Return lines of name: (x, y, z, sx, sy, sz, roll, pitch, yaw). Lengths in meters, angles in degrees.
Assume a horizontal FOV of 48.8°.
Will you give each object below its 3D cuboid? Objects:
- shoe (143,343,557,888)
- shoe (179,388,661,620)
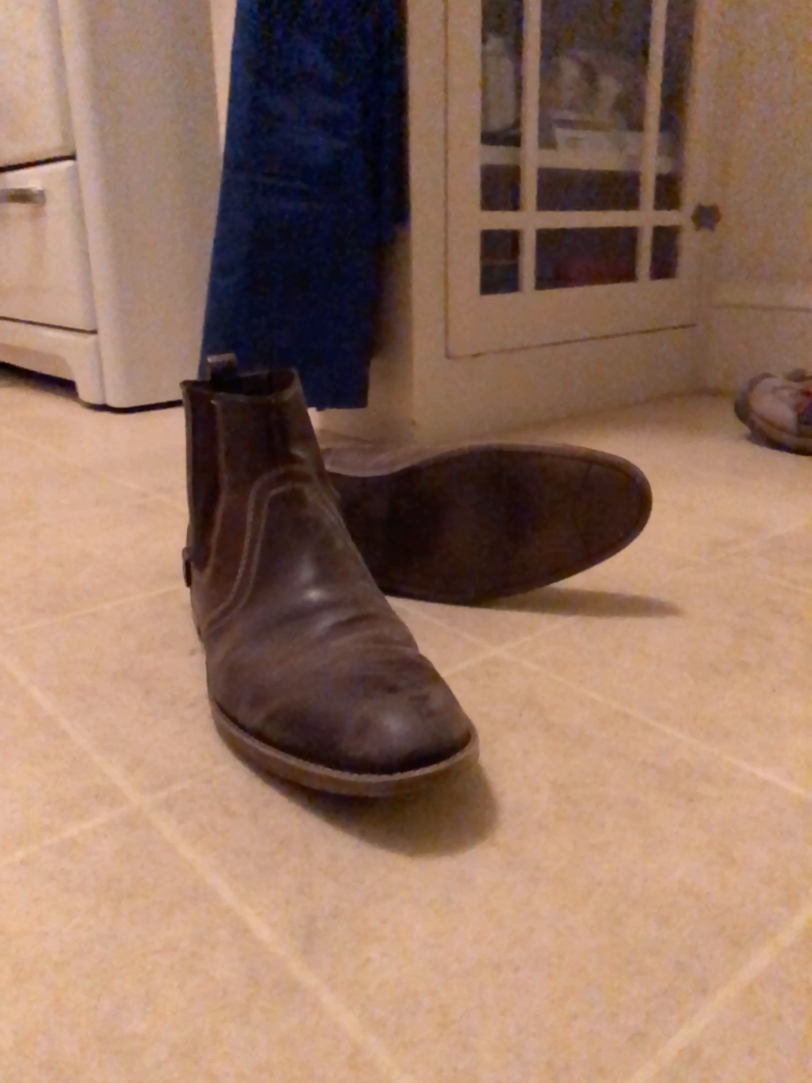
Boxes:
shoe: (-0.054, -0.002, 0.462, 0.111, 0.160, 0.314, -7, 20, -20)
shoe: (0.017, -0.041, 0.660, 0.313, 0.111, 0.162, 5, 18, 18)
